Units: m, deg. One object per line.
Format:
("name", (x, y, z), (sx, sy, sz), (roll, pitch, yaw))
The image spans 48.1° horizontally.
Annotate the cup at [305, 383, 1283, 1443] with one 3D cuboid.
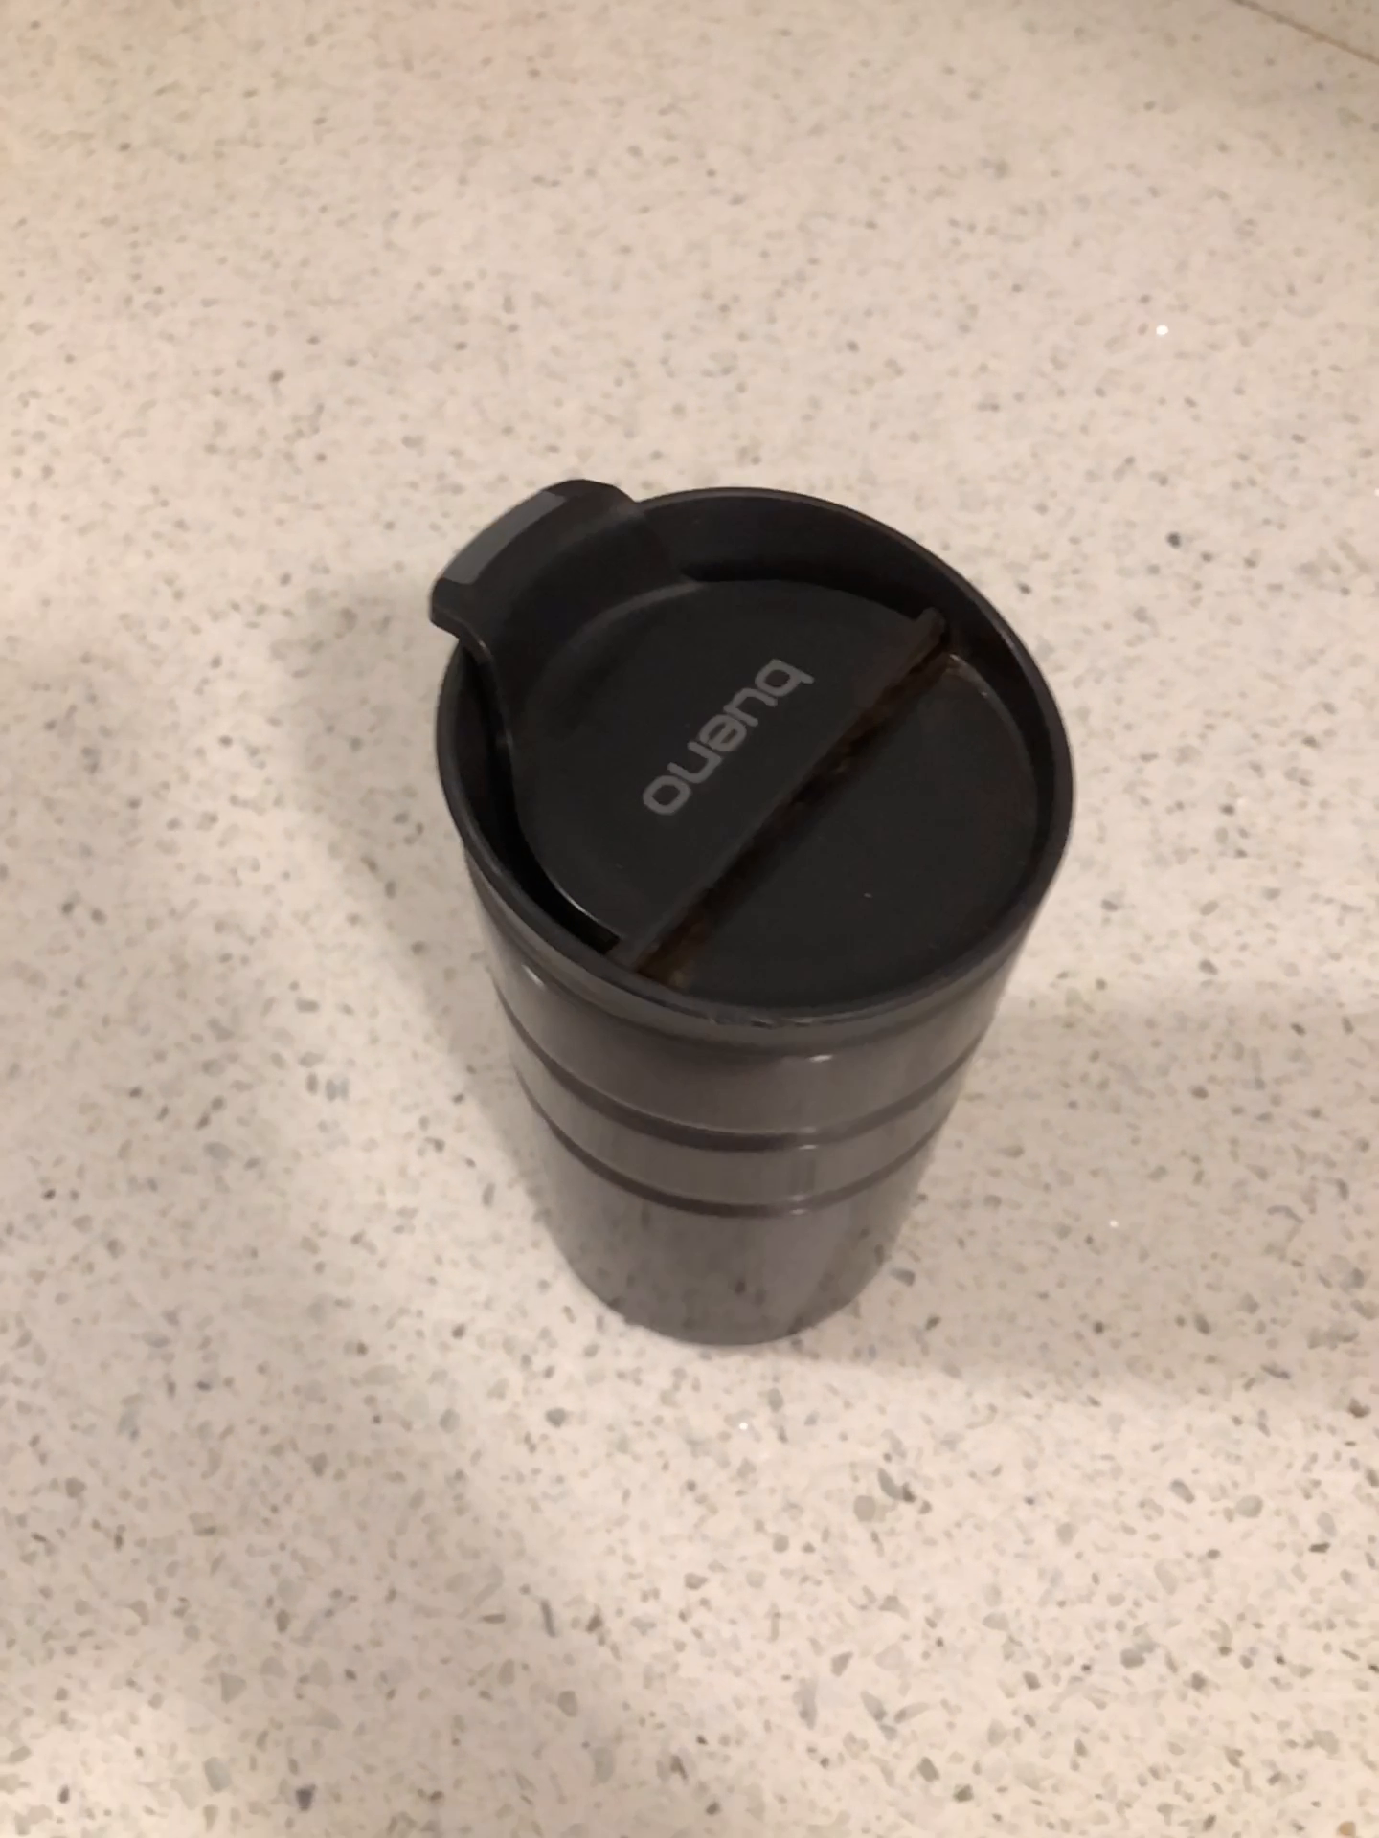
("cup", (0.008, 0.006, 0.226), (0.086, 0.116, 0.085), (0, 57, 0))
